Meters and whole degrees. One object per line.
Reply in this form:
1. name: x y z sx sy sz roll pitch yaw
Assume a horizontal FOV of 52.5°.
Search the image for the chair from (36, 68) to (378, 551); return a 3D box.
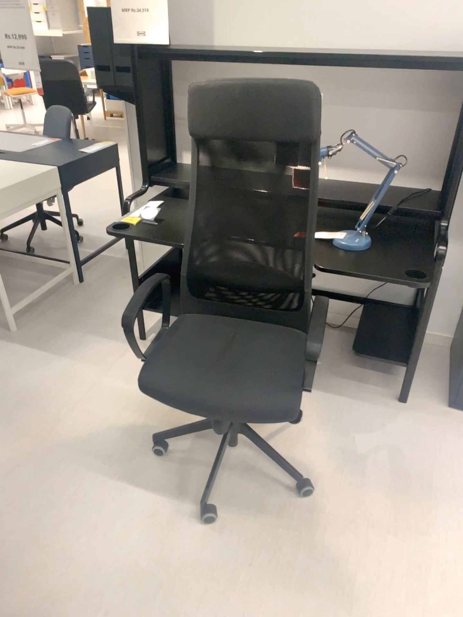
1. chair: 0.018 -0.020 1.472 0.640 1.244 0.713 9 33 14
